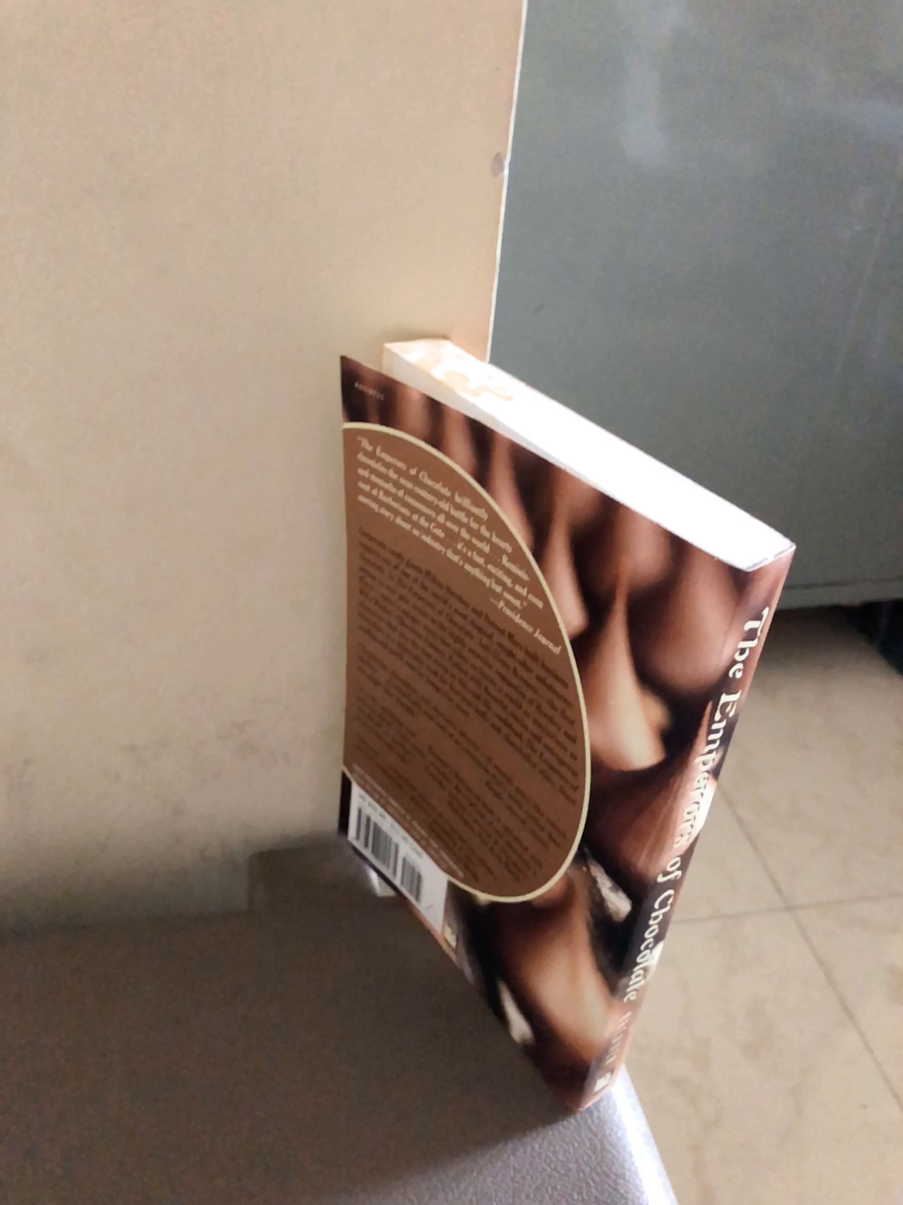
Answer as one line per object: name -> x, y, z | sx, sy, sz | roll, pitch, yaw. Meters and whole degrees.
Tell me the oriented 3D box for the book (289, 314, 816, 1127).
book -> 0.009, 0.035, 0.317 | 0.040, 0.199, 0.160 | -20, 42, -32
